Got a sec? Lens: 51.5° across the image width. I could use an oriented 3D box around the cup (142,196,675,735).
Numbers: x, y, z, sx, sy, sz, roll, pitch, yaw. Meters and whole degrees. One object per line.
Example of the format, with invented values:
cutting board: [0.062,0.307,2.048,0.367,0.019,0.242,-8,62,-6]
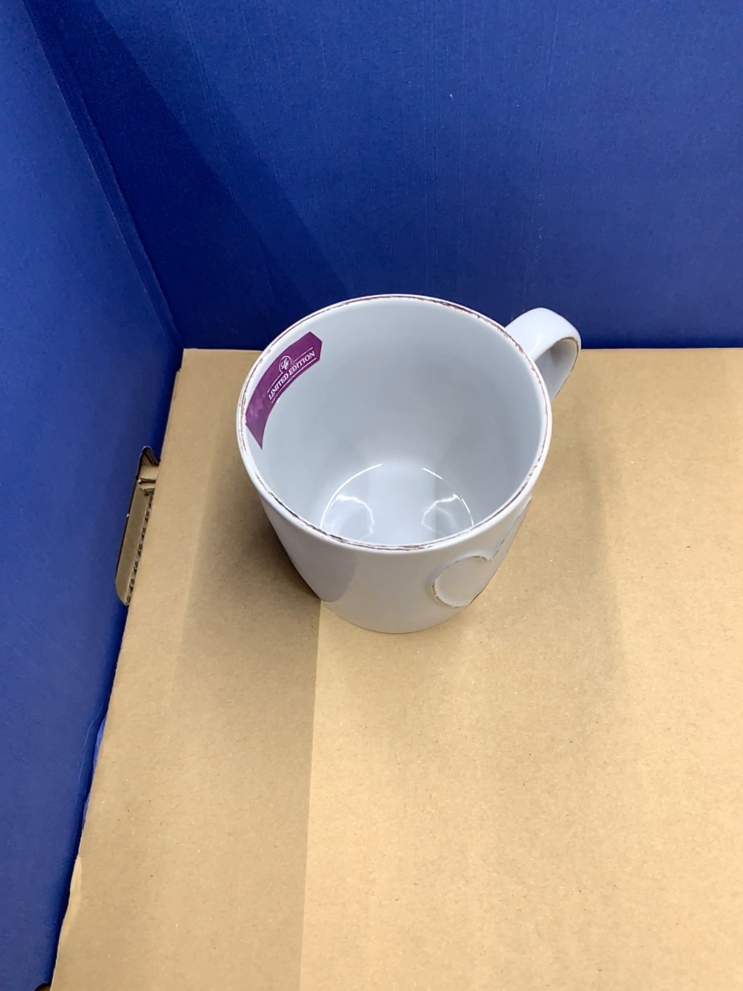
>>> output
cup: [0.015,-0.012,0.250,0.091,0.085,0.125,34,66,23]
